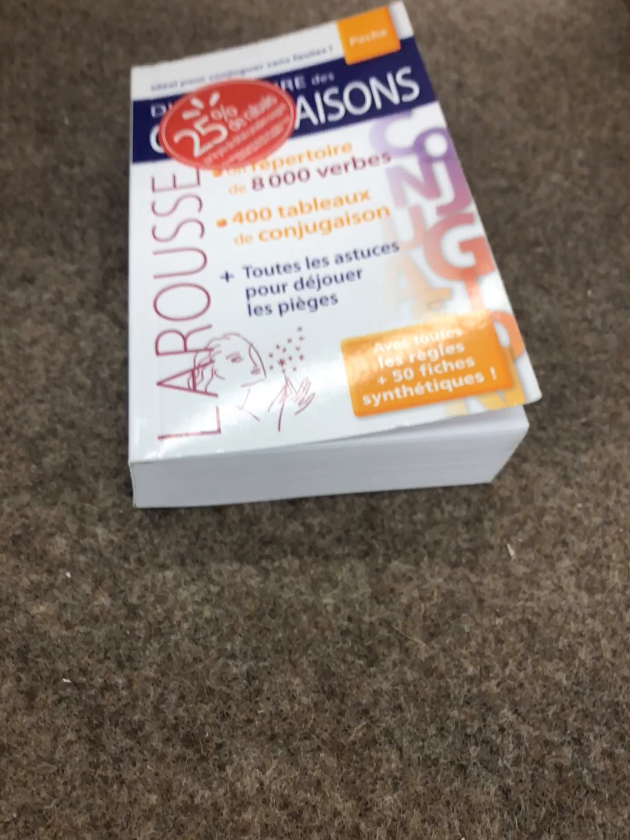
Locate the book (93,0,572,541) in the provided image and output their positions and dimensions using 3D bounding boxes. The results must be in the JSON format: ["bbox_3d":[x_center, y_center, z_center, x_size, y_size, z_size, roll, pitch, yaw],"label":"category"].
[{"bbox_3d":[-0.008,-0.067,0.260,0.124,0.059,0.200,-6,58,-6],"label":"book"}]
